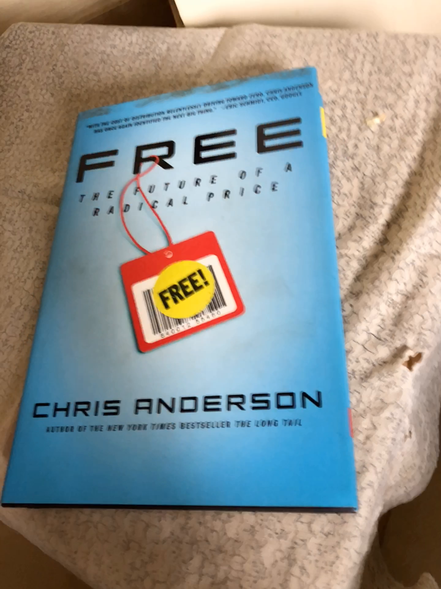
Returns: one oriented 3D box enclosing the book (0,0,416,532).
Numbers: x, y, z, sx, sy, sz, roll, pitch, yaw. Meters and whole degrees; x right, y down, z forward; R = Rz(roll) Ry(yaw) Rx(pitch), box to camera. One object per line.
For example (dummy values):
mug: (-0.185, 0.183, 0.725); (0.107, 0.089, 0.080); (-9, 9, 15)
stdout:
book: (-0.024, -0.042, 0.241); (0.180, 0.040, 0.280); (-7, 61, 16)
